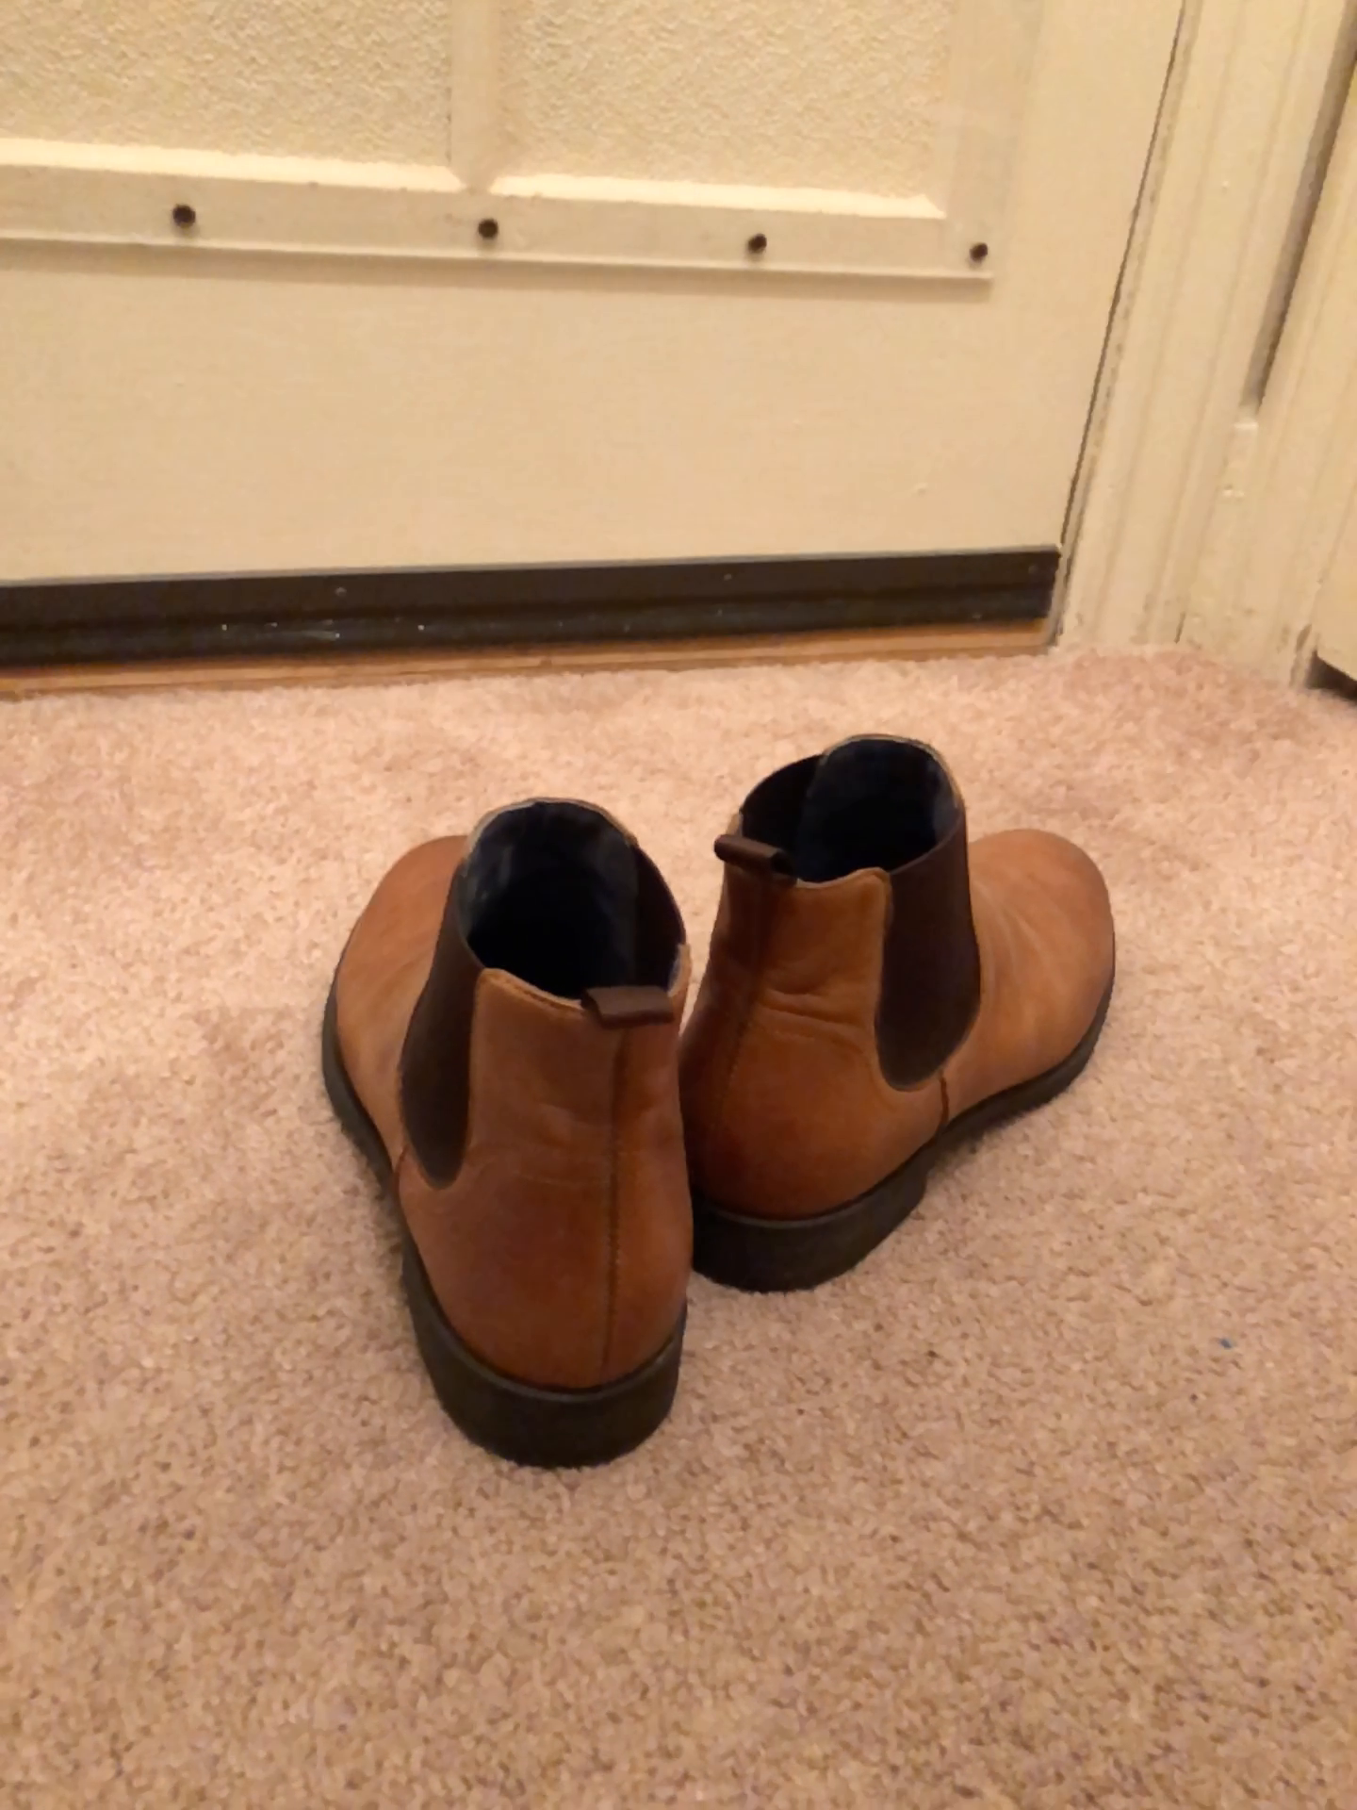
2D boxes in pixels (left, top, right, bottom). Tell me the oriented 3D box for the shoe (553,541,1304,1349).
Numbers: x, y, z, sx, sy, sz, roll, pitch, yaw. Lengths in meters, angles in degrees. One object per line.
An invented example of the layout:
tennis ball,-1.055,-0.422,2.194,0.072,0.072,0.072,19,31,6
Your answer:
shoe,0.103,-0.011,0.556,0.109,0.165,0.313,26,37,30

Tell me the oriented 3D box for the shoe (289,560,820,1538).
shoe,-0.066,0.016,0.504,0.109,0.165,0.314,-3,32,-15
